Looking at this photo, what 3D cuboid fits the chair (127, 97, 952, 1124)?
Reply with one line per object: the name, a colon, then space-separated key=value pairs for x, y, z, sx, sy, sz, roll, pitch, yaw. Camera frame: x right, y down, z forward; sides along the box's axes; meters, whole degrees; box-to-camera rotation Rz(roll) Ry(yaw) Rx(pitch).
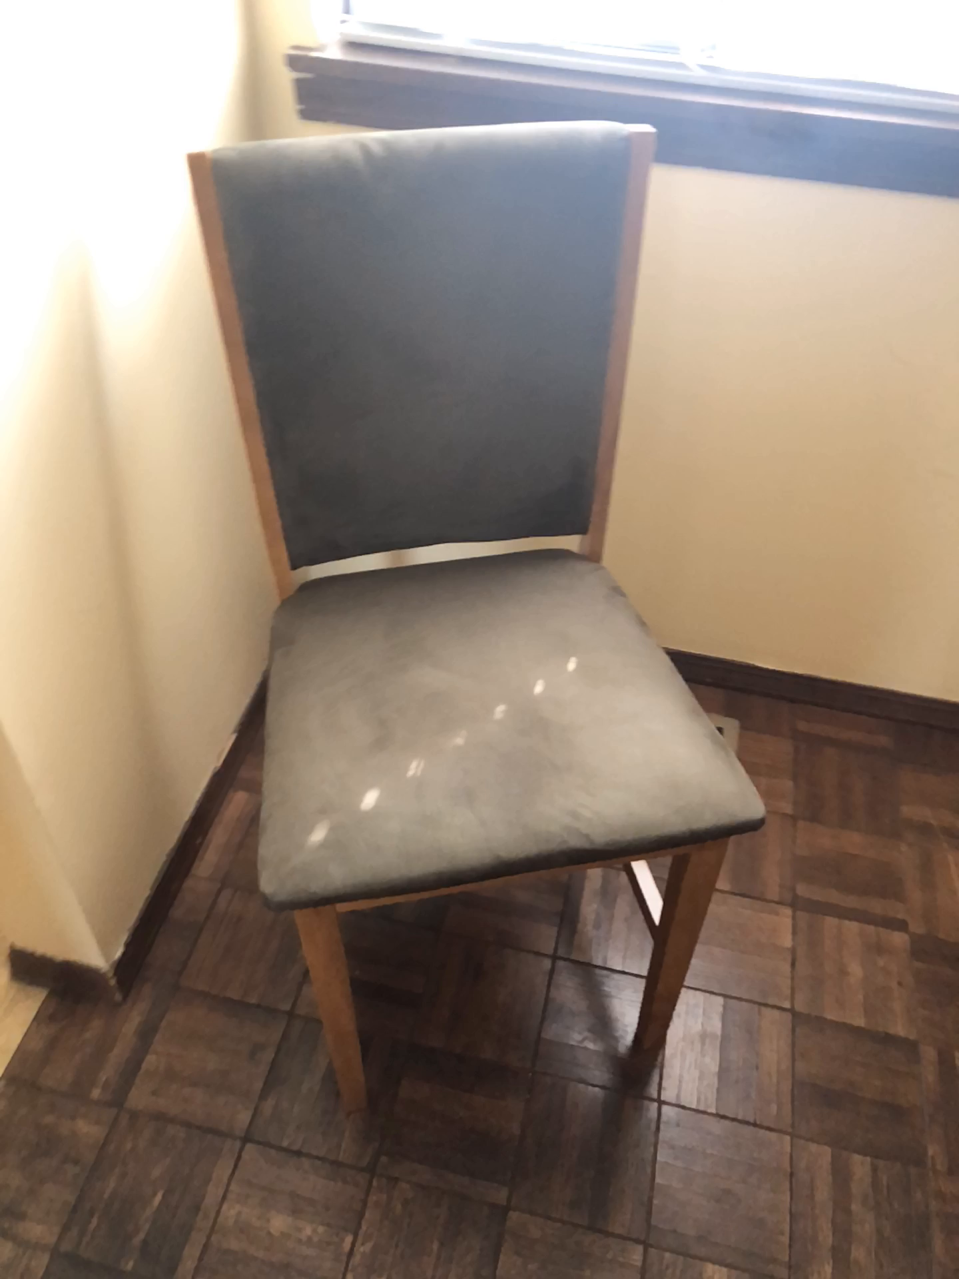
chair: x=-0.014 y=-0.006 z=1.069 sx=0.490 sy=0.858 sz=0.511 roll=-8 pitch=42 yaw=-11
